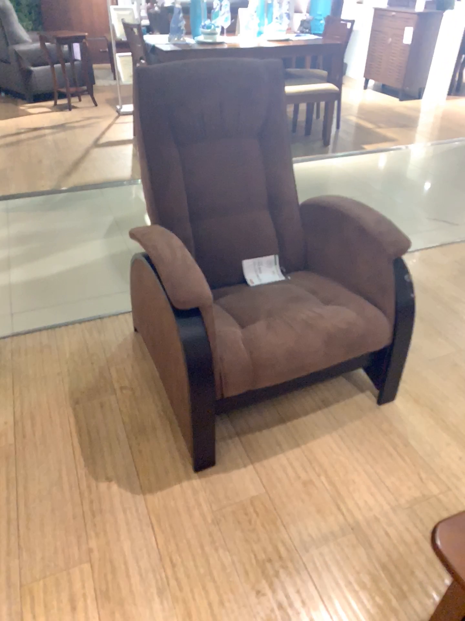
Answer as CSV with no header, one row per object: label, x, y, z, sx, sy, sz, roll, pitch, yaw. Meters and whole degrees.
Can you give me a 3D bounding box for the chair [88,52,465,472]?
chair,0.087,-0.271,1.556,0.800,0.886,1.004,-14,38,-19
